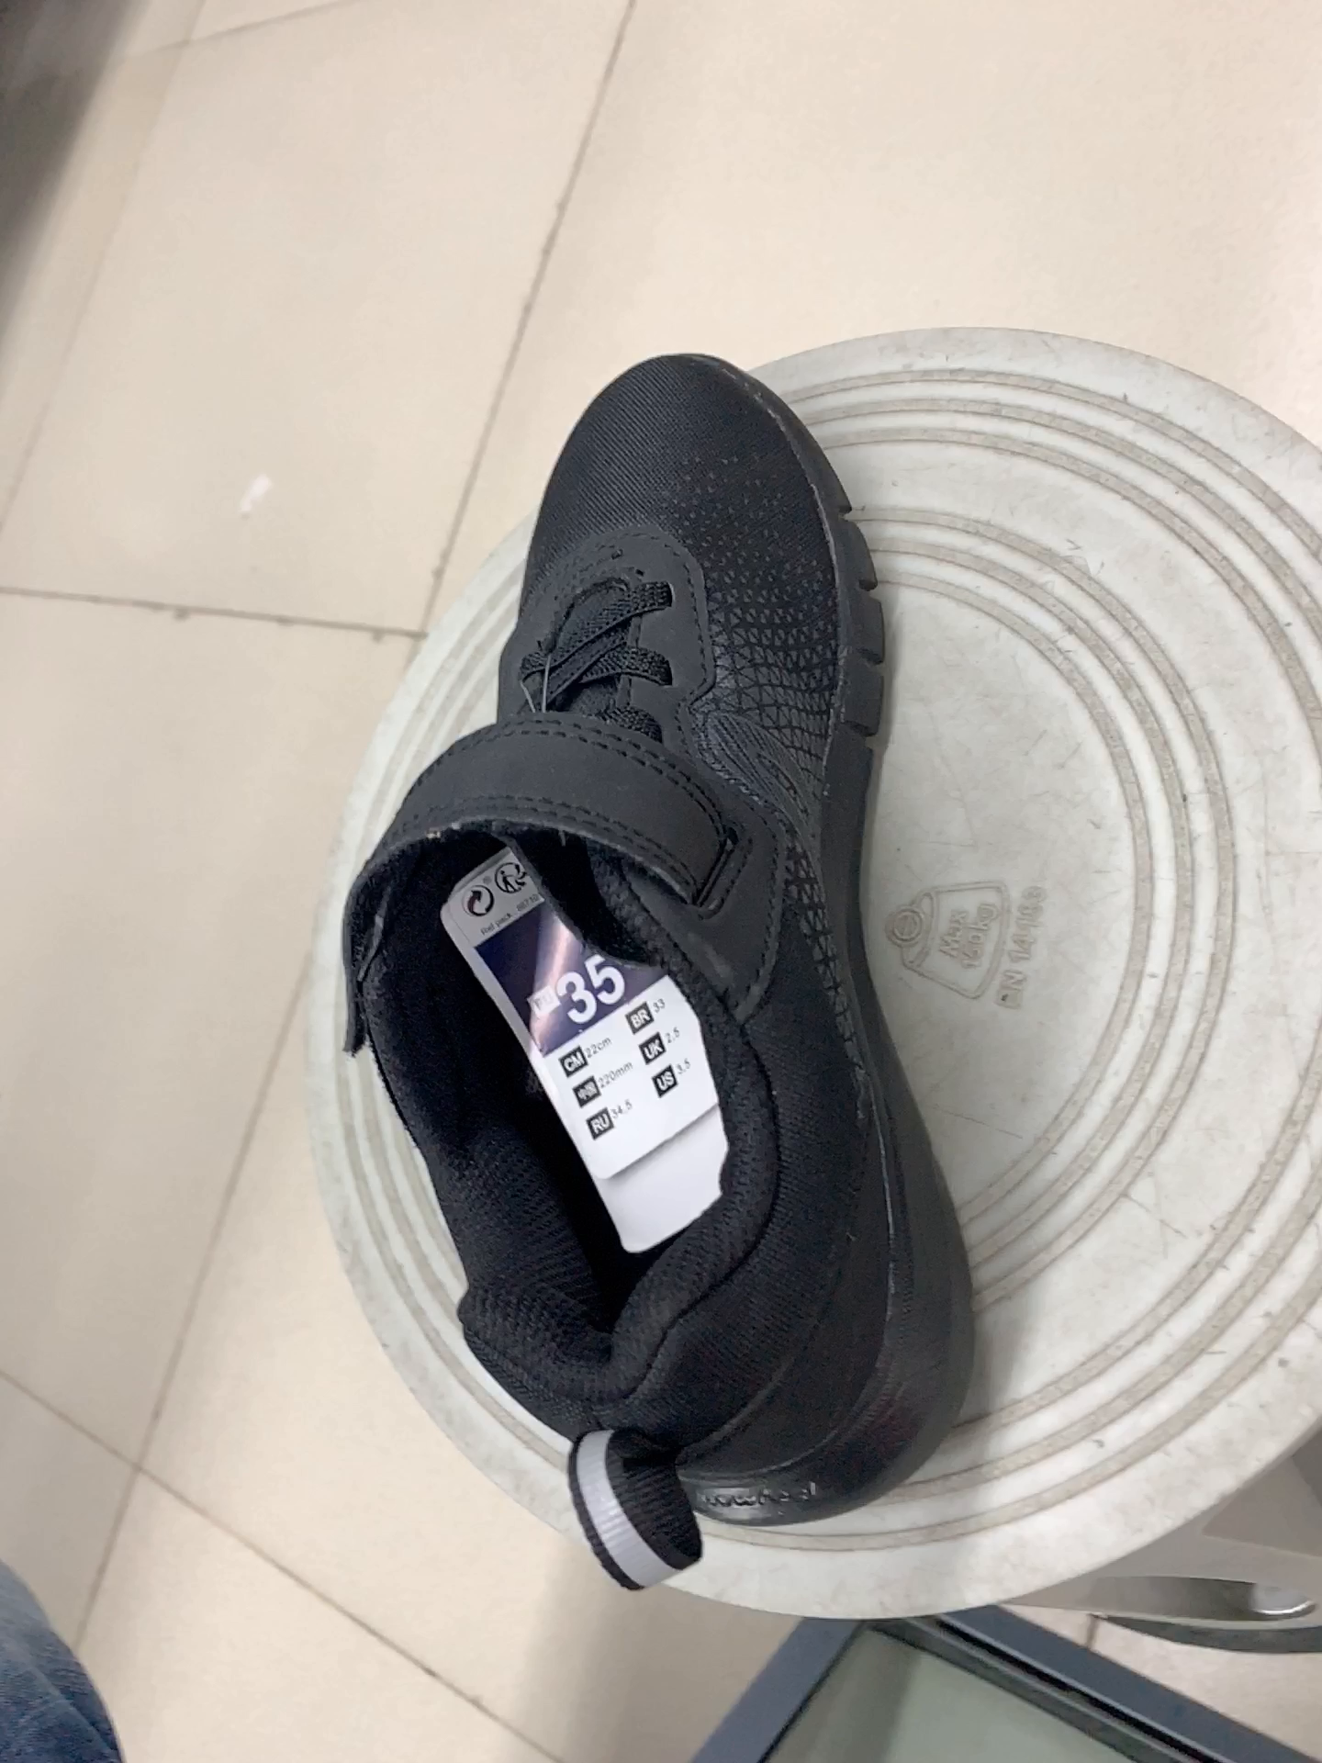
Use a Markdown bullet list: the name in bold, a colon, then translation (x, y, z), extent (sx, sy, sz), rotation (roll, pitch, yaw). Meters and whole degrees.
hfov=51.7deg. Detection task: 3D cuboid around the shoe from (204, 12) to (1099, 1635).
- **shoe**: translation (-0.014, -0.015, 0.250), extent (0.100, 0.080, 0.250), rotation (-21, 65, 25)
